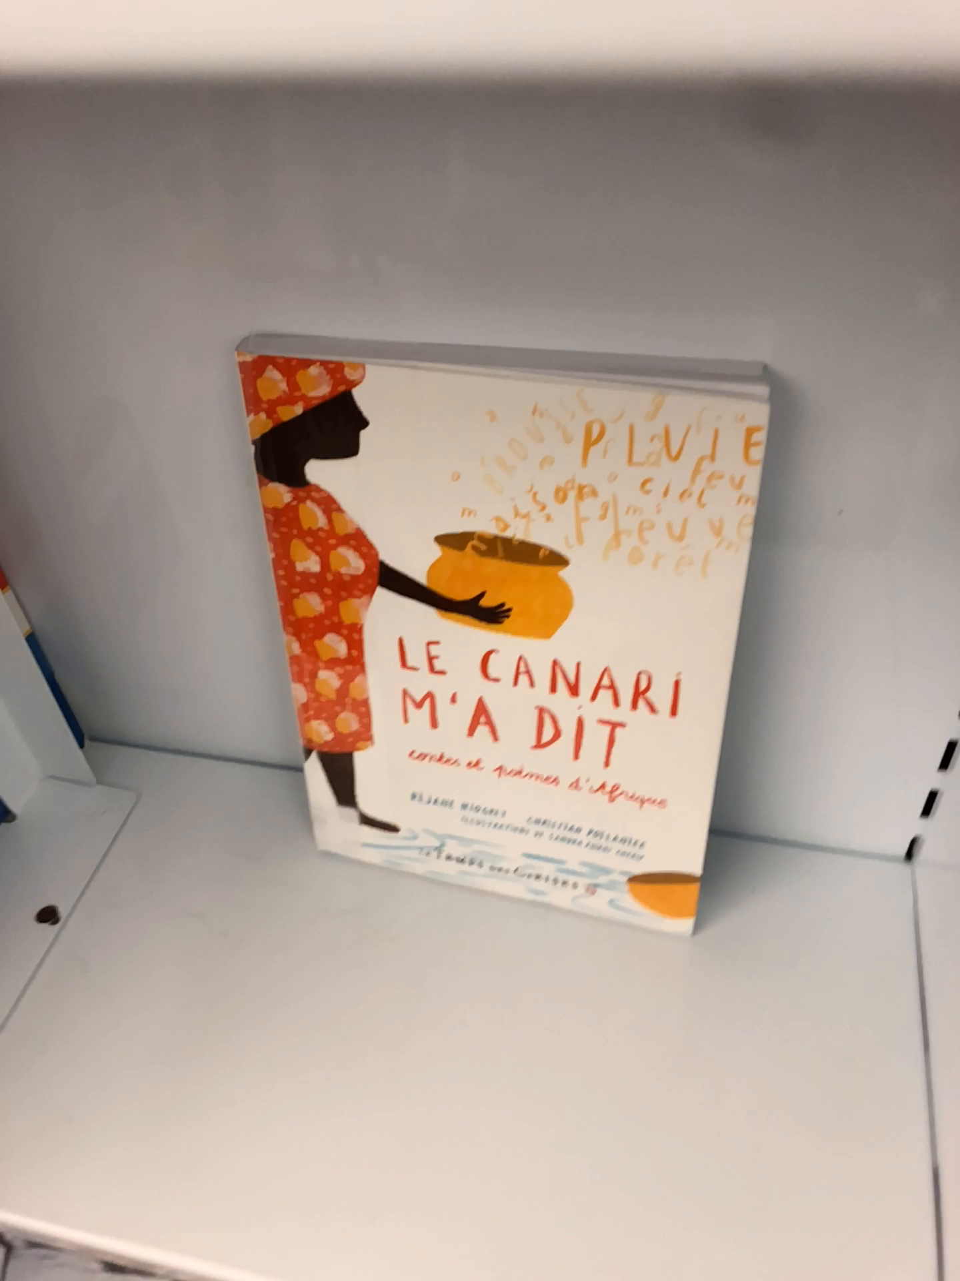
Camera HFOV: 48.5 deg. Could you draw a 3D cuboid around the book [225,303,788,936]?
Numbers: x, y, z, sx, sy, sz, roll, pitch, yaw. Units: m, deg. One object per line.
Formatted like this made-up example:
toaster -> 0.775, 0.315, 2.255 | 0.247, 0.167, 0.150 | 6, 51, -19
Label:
book -> 0.007, 0.001, 0.348 | 0.149, 0.199, 0.037 | 9, 37, 13
